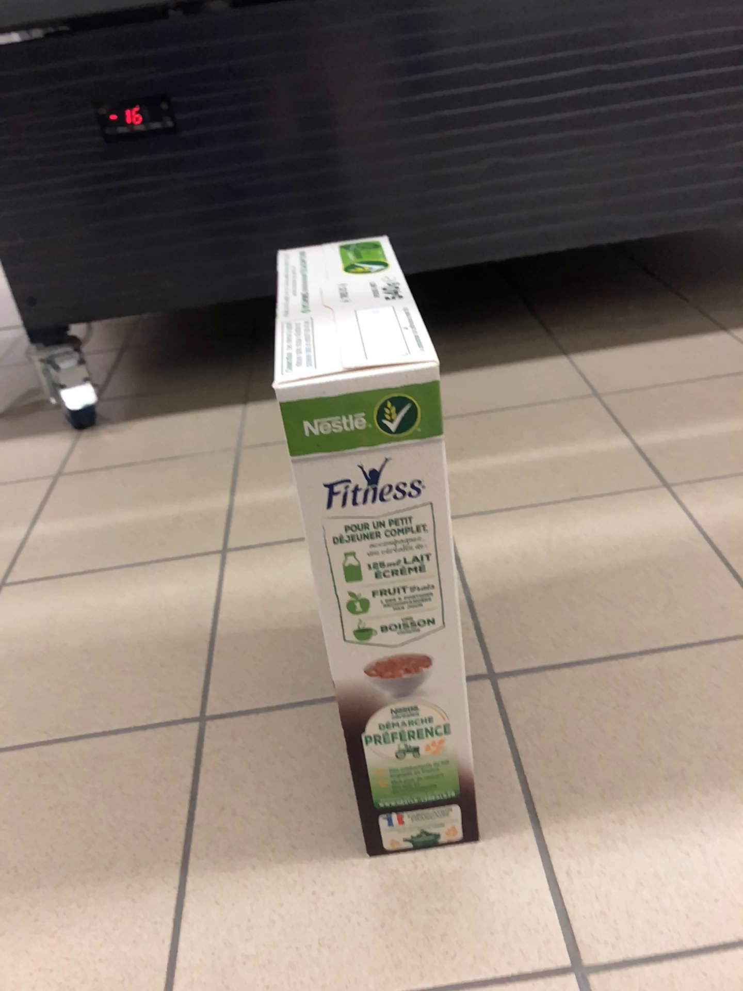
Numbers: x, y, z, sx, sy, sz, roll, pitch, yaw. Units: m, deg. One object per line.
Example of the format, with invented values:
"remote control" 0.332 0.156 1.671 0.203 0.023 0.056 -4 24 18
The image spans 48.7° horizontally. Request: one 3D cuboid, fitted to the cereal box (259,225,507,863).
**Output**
"cereal box" 0.007 0.020 0.462 0.080 0.278 0.211 -9 31 0
